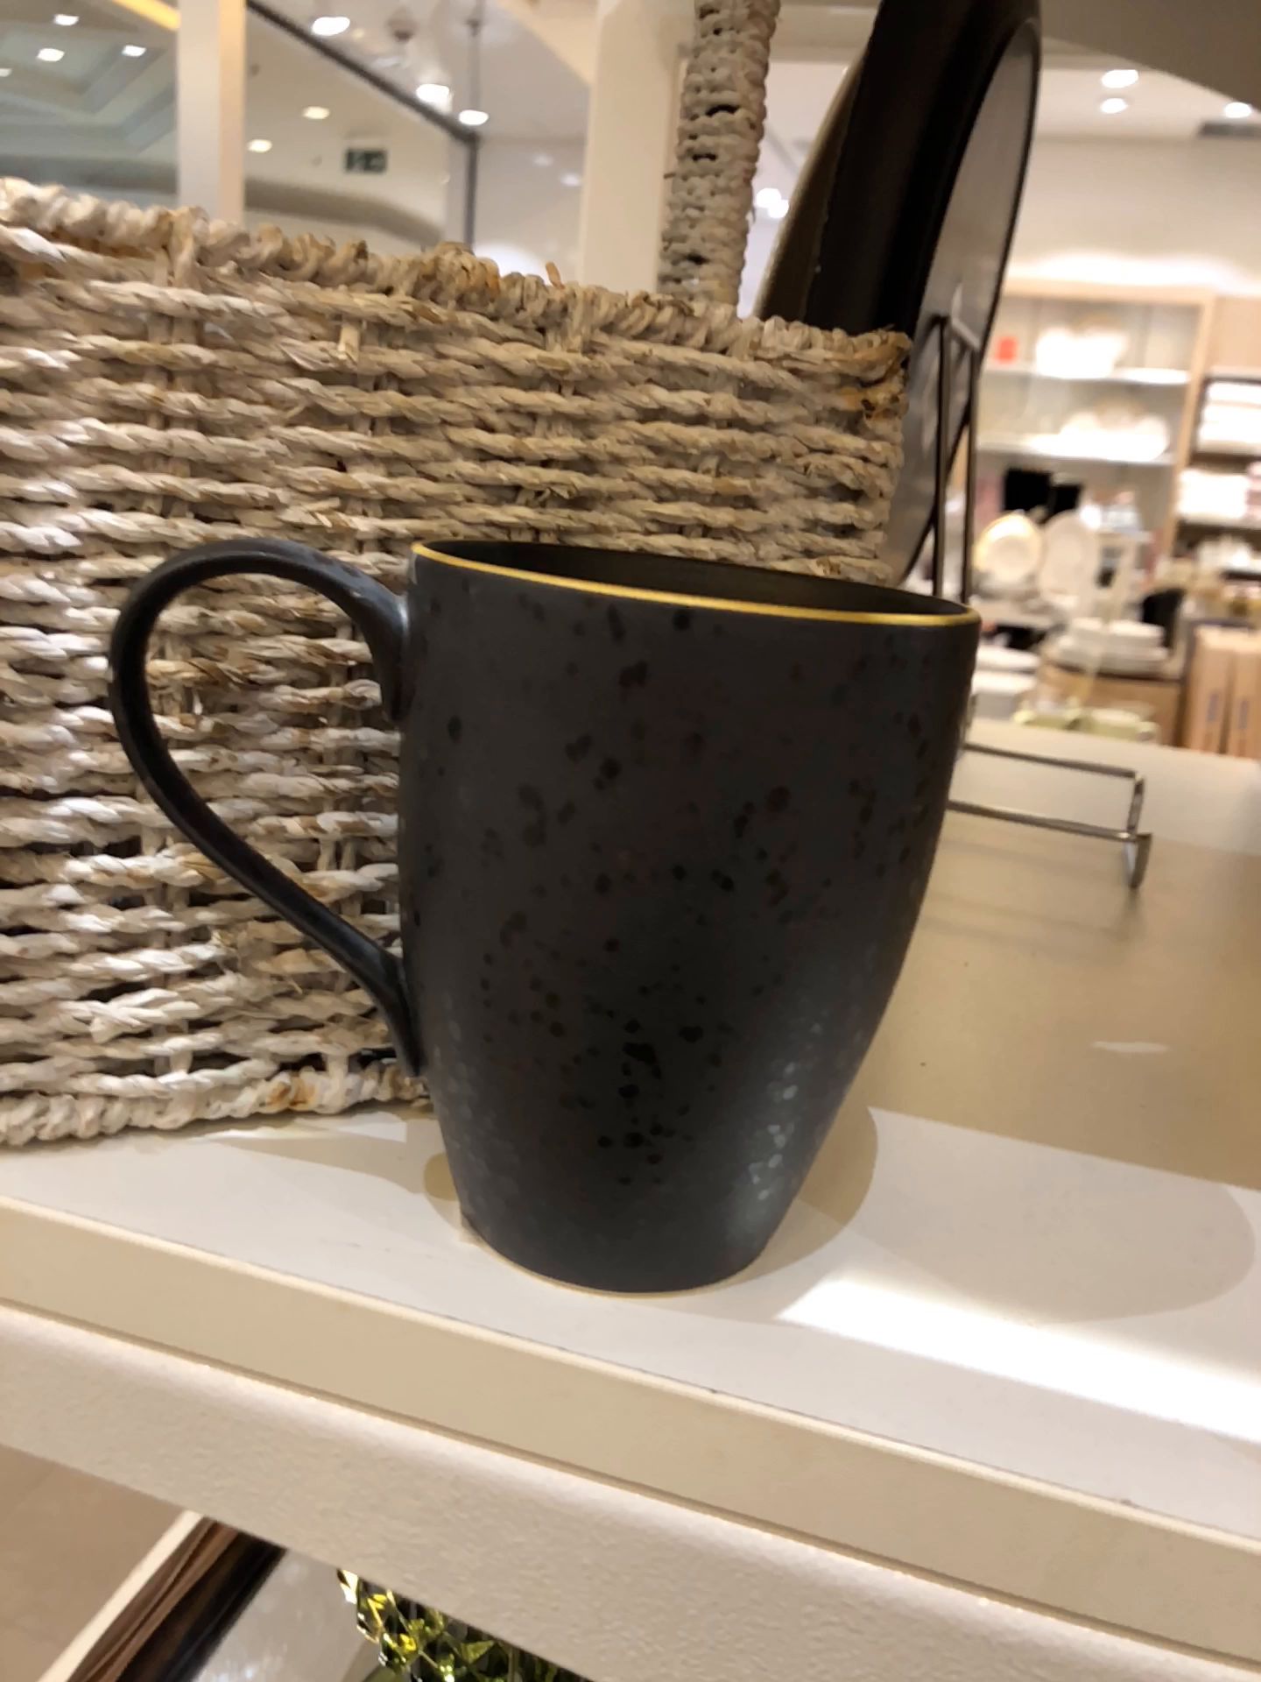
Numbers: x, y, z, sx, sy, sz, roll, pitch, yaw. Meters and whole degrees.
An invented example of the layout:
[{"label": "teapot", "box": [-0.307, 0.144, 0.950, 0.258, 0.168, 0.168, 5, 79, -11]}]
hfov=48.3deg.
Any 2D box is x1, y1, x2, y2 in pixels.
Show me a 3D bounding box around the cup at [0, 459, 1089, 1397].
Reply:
[{"label": "cup", "box": [-0.011, 0.002, 0.202, 0.120, 0.100, 0.080, 6, 15, 7]}]
